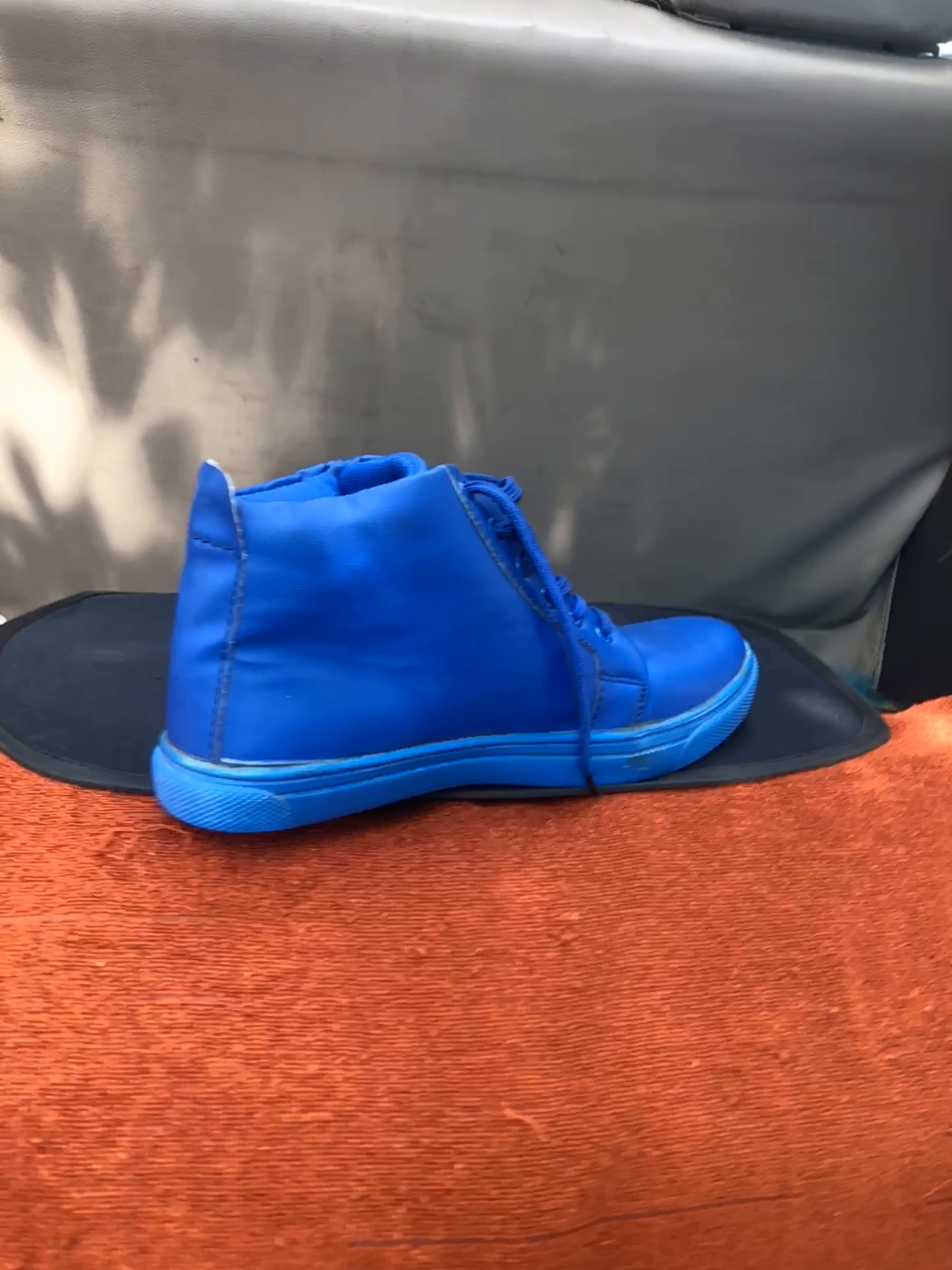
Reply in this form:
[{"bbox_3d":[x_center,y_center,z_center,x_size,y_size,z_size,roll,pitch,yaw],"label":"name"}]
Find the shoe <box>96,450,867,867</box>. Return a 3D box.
[{"bbox_3d":[0.003,-0.010,0.462,0.301,0.120,0.130,-5,20,-27],"label":"shoe"}]
